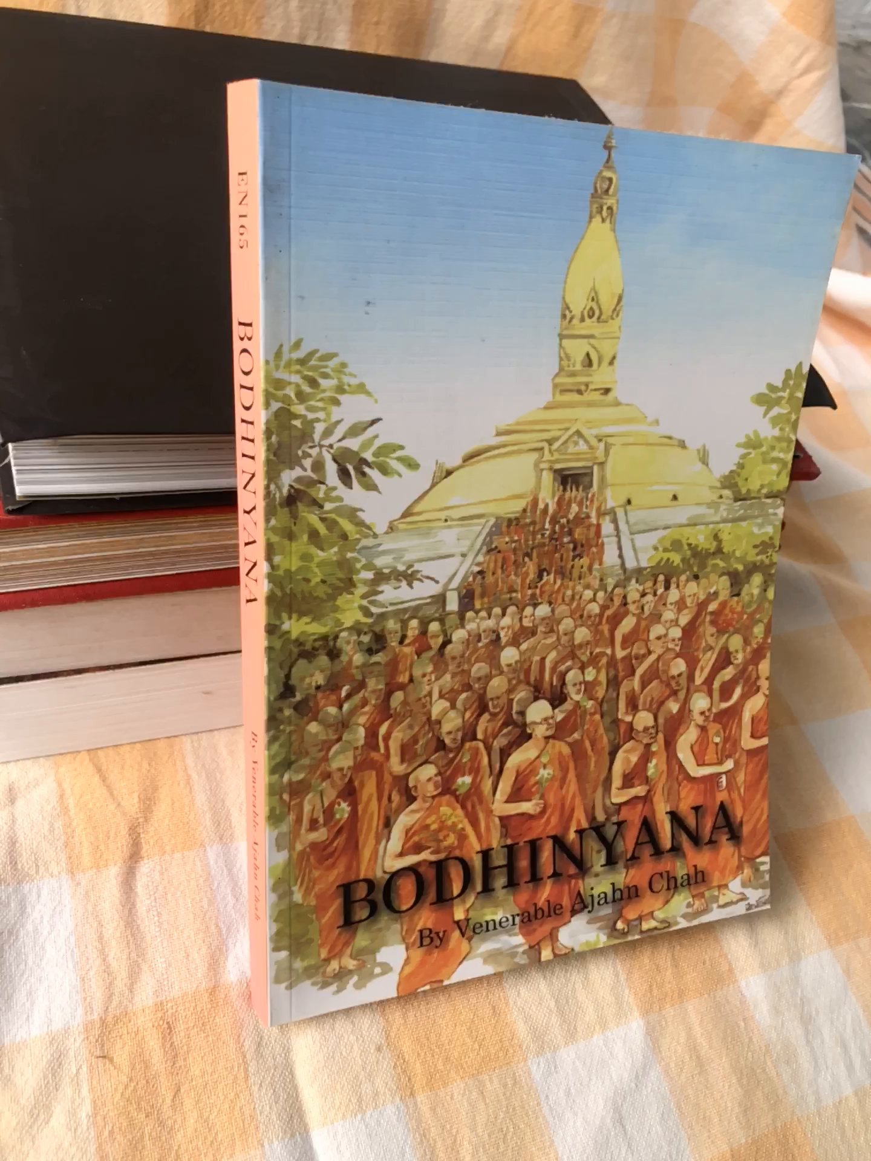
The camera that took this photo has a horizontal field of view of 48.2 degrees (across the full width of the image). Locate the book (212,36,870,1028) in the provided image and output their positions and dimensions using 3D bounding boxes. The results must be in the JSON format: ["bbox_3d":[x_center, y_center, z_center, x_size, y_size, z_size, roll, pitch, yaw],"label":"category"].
[{"bbox_3d":[0.026,-0.005,0.234,0.150,0.200,0.030,-3,15,-22],"label":"book"}]
